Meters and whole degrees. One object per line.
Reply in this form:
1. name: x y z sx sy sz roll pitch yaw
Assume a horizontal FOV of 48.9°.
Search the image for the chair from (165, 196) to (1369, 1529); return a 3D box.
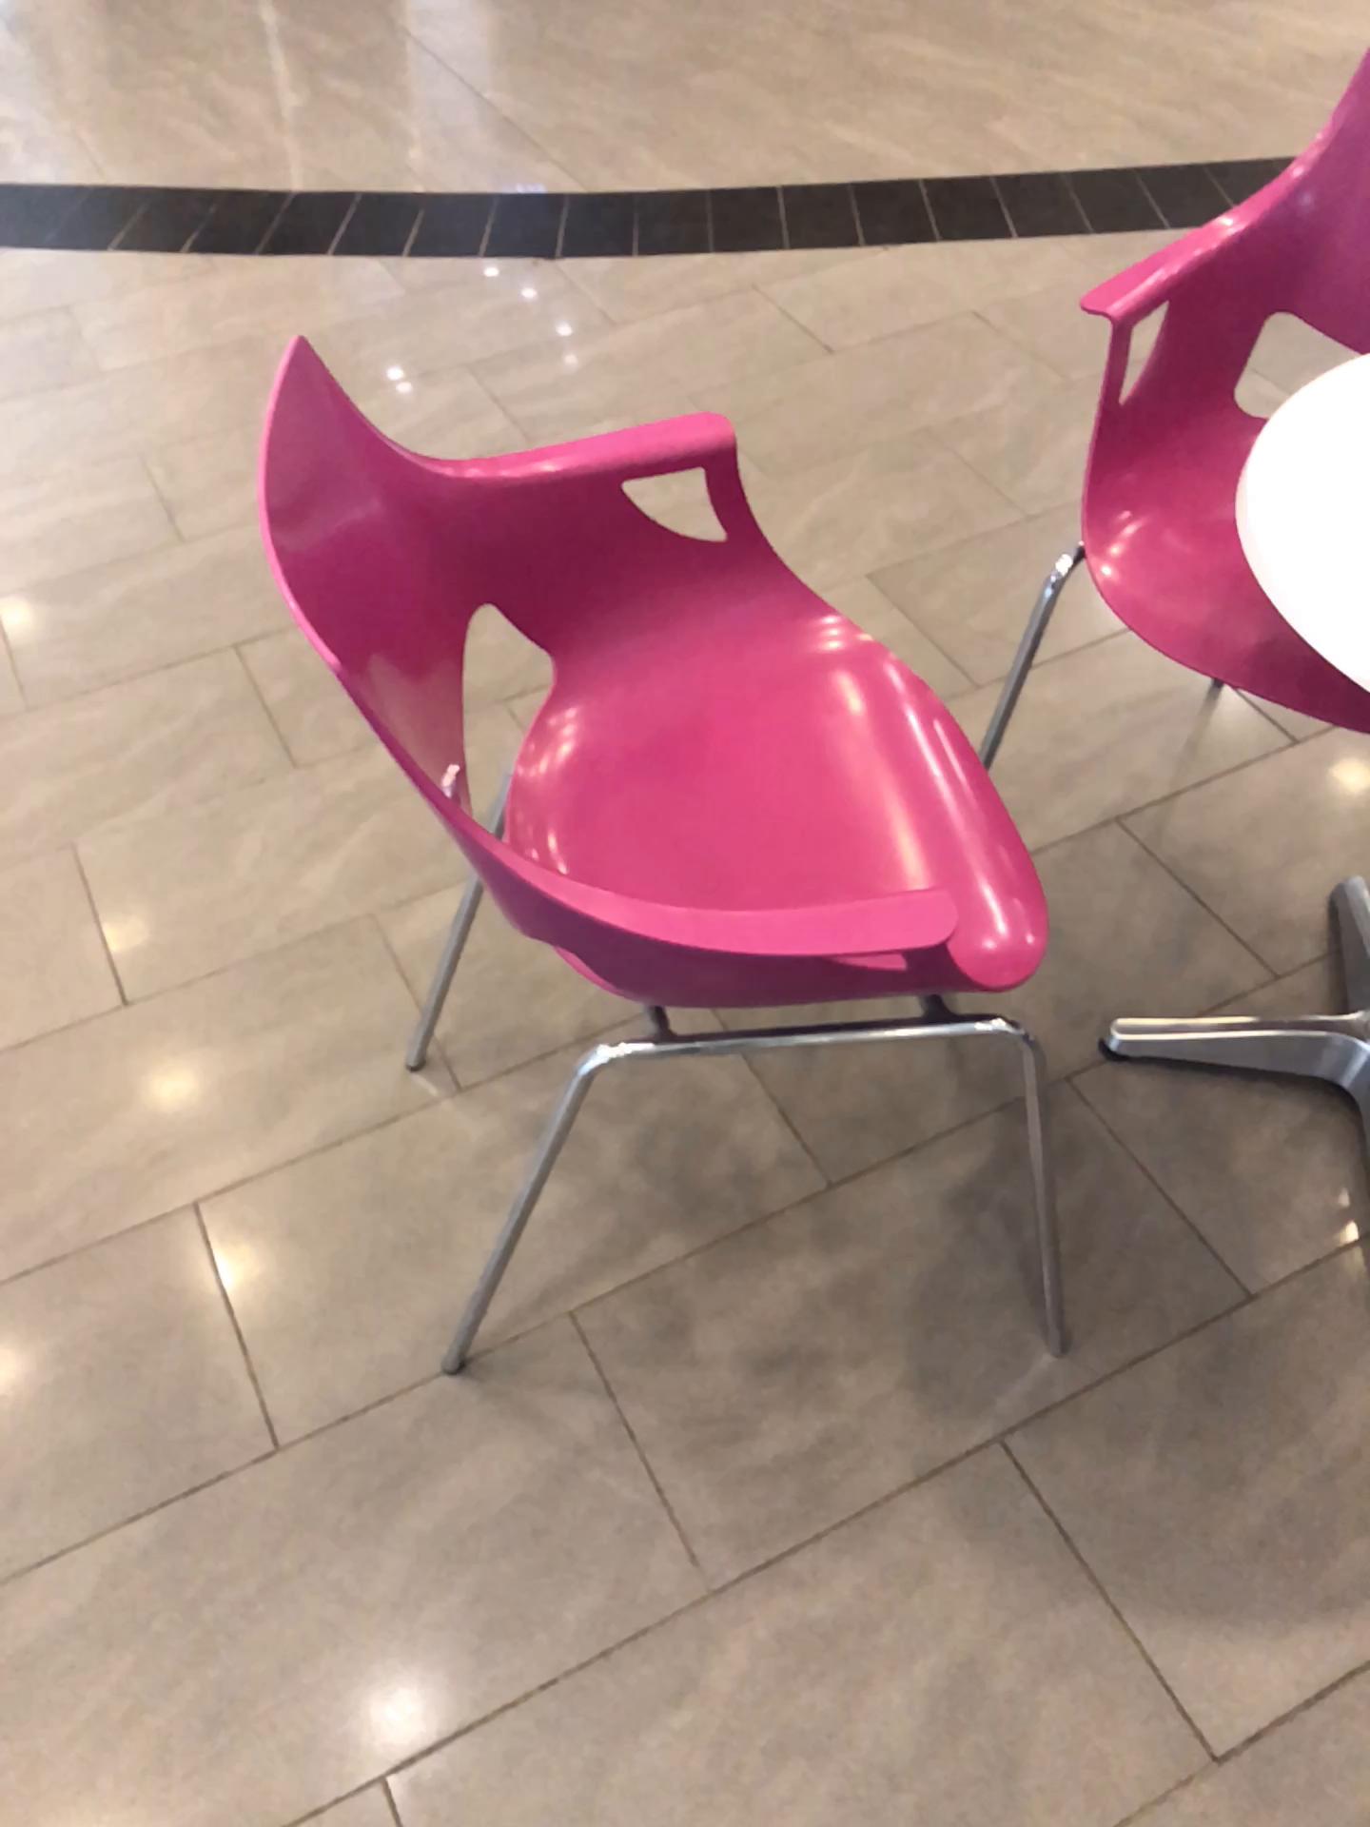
1. chair: 0.038 -0.020 1.279 0.670 0.837 0.622 -10 46 -6
